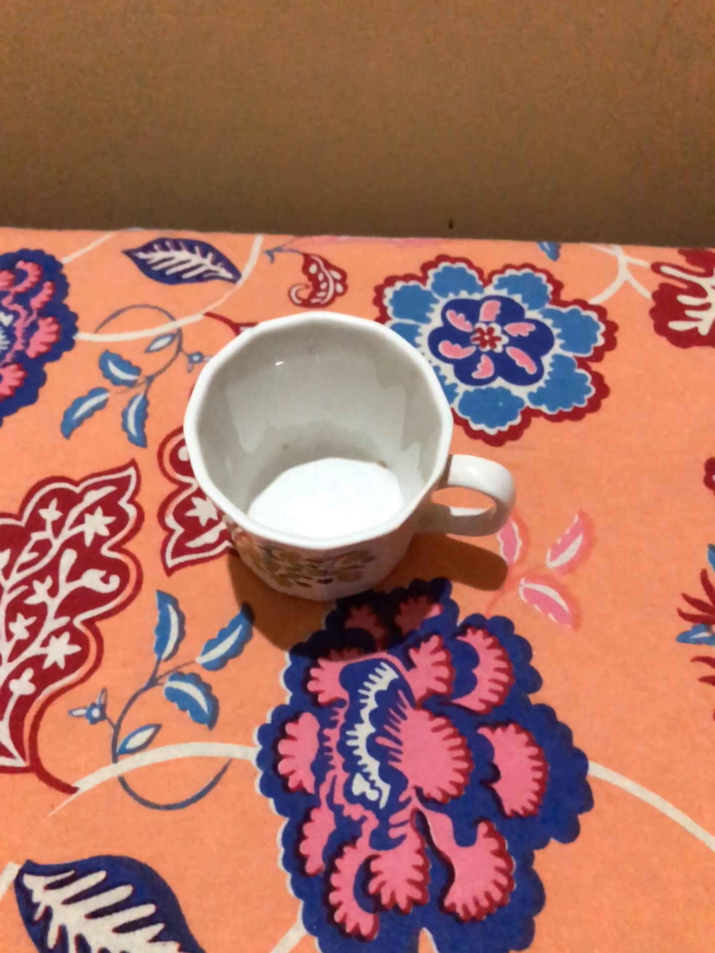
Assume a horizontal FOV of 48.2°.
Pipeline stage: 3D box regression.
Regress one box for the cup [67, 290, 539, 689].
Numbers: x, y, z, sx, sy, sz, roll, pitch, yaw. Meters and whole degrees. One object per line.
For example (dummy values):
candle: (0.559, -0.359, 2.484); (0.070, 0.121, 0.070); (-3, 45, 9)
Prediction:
cup: (-0.009, 0.006, 0.208); (0.090, 0.070, 0.060); (14, 66, 9)
